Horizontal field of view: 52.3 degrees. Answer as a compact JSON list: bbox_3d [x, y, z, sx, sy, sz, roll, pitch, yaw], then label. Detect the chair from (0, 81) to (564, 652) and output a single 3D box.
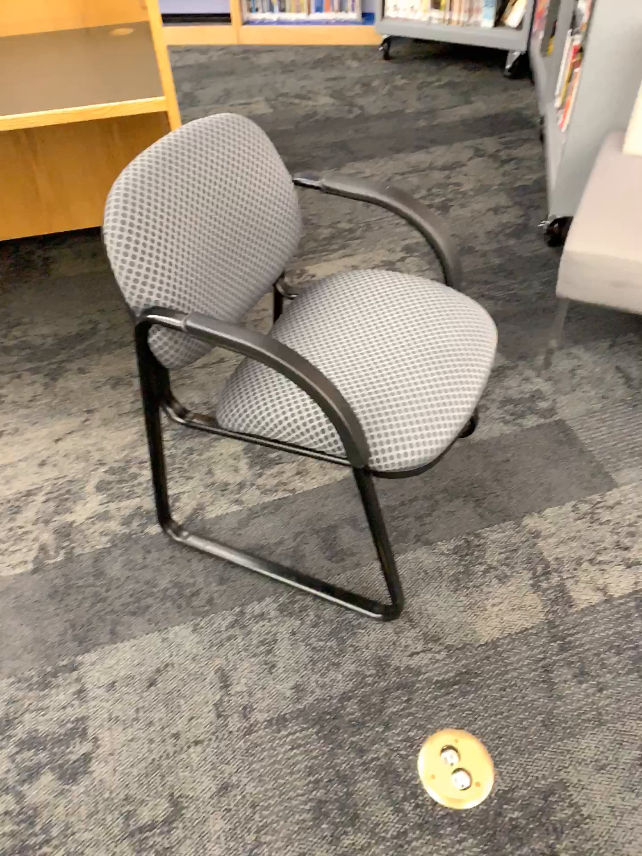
[{"bbox_3d":[-0.029,-0.170,1.295,0.721,0.677,0.732,16,48,19],"label":"chair"}]
